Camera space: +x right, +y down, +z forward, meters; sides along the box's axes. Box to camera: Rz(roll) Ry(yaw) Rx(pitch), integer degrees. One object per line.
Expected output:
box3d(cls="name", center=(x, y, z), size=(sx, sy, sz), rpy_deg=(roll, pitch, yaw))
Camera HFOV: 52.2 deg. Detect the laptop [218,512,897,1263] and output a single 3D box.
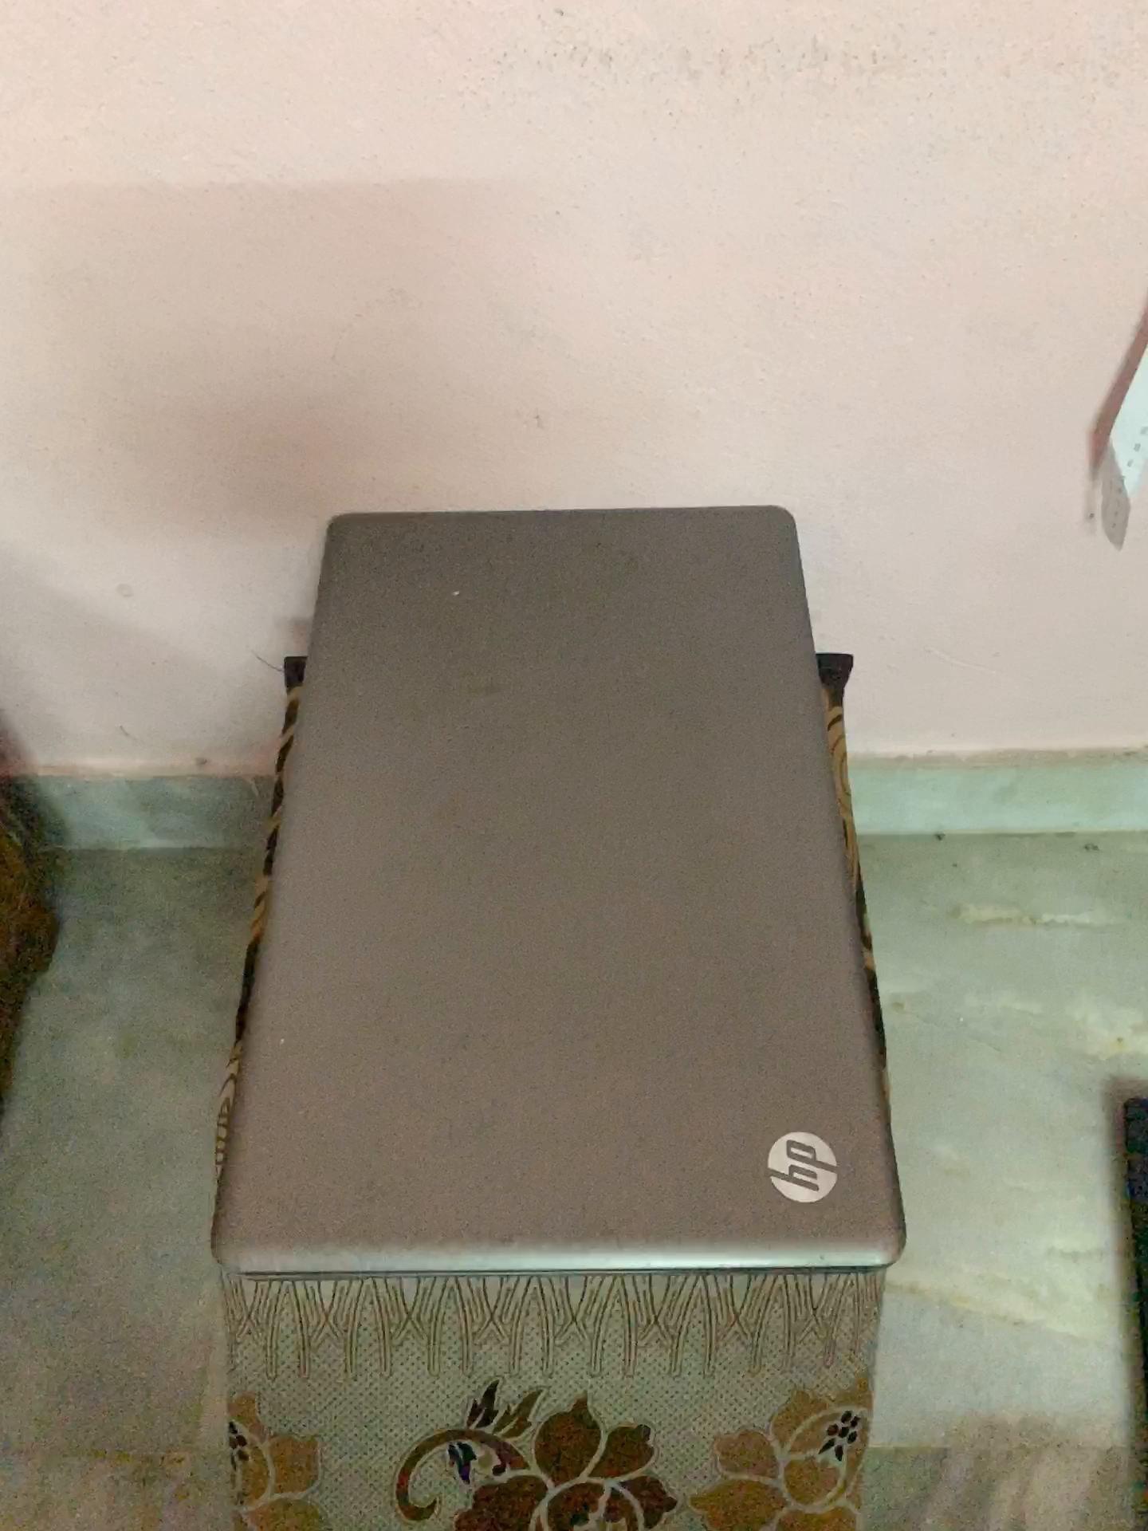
box3d(cls="laptop", center=(-0.007, 0.023, 0.535), size=(0.249, 0.002, 0.381), rpy_deg=(-1, 56, 1))
